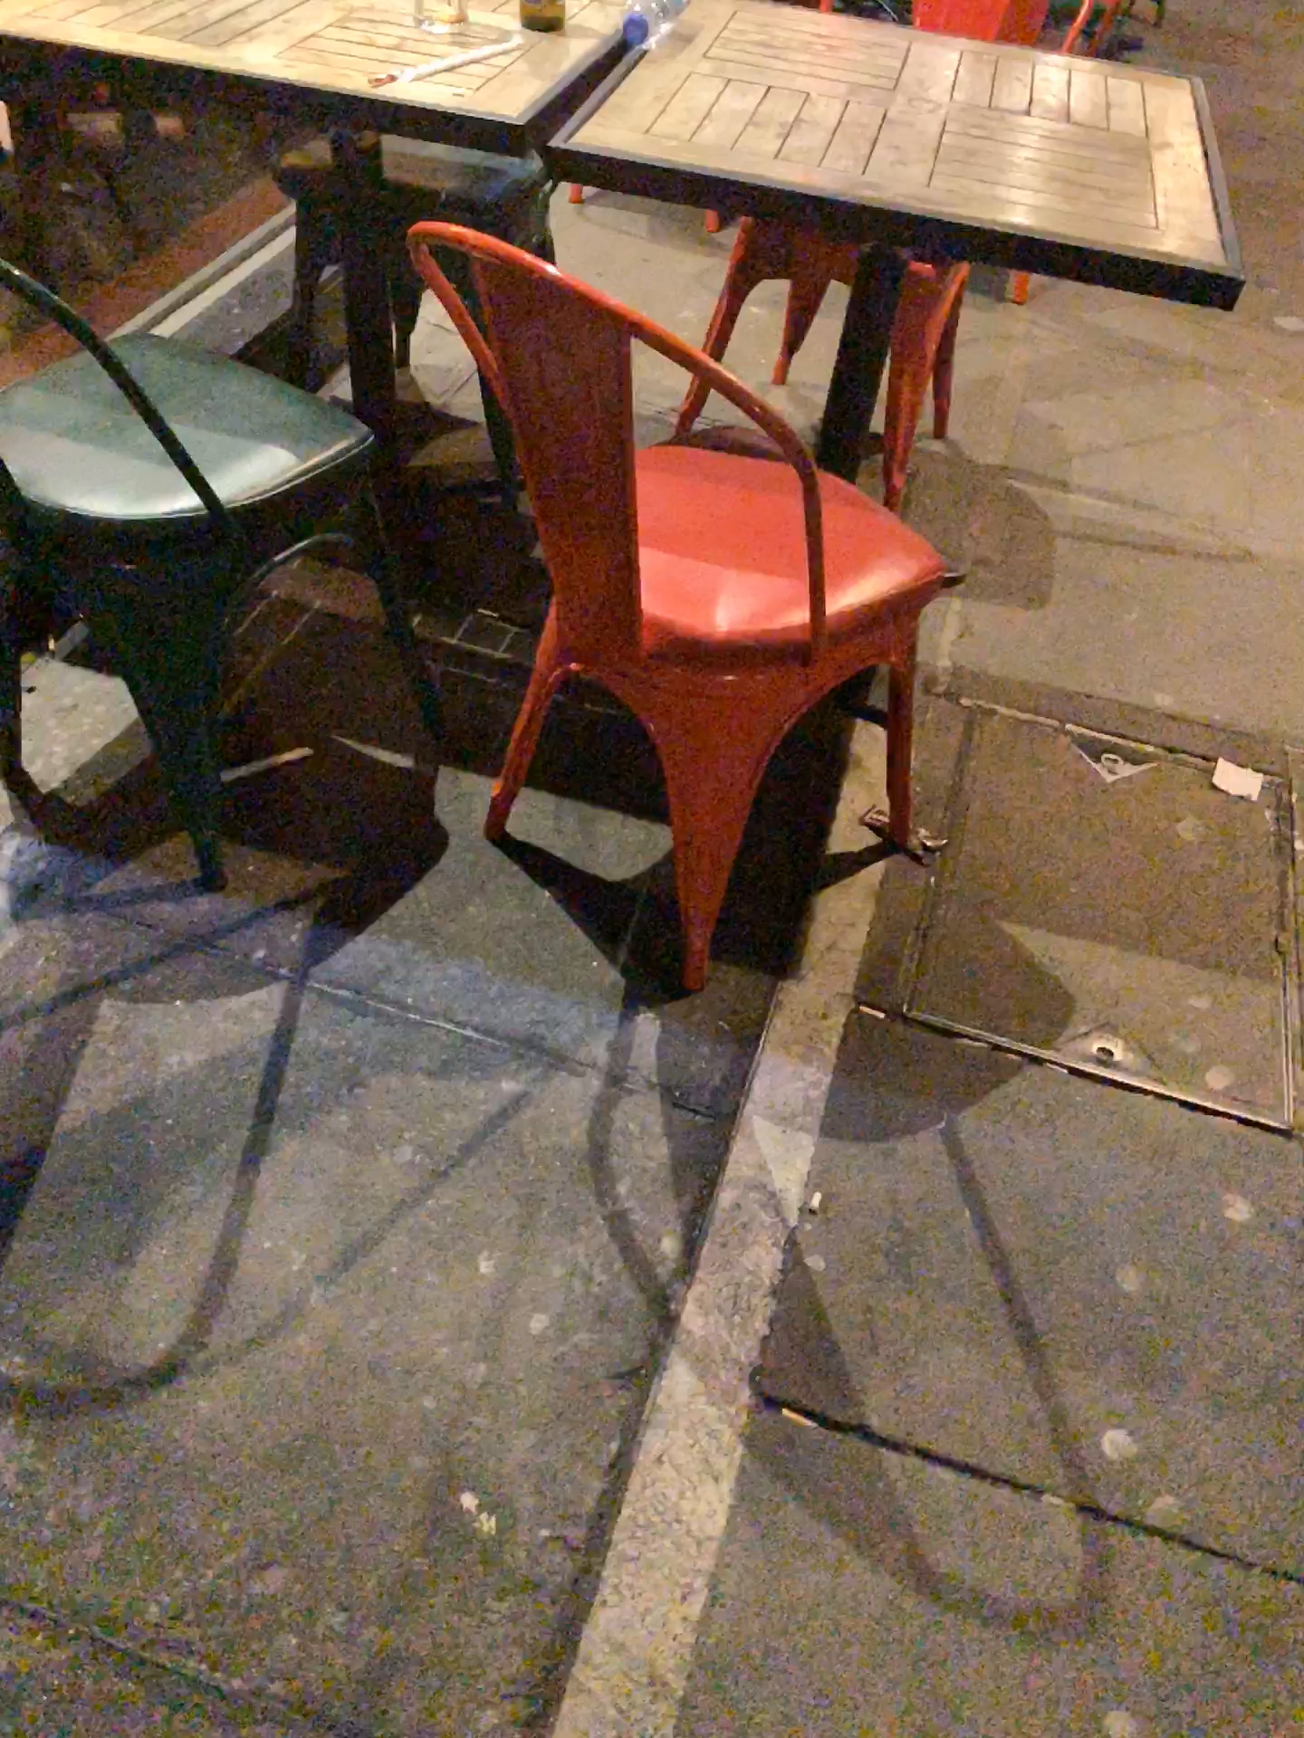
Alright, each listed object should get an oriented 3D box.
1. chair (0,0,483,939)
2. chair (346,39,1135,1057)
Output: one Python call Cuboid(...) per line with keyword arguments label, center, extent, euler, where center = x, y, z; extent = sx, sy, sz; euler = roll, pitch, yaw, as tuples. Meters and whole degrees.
Cuboid(label="chair", center=(-0.522, -0.434, 1.437), extent=(0.431, 0.832, 0.513), euler=(35, 57, 18))
Cuboid(label="chair", center=(0.063, -0.315, 1.396), extent=(0.432, 0.812, 0.513), euler=(36, 54, 27))
